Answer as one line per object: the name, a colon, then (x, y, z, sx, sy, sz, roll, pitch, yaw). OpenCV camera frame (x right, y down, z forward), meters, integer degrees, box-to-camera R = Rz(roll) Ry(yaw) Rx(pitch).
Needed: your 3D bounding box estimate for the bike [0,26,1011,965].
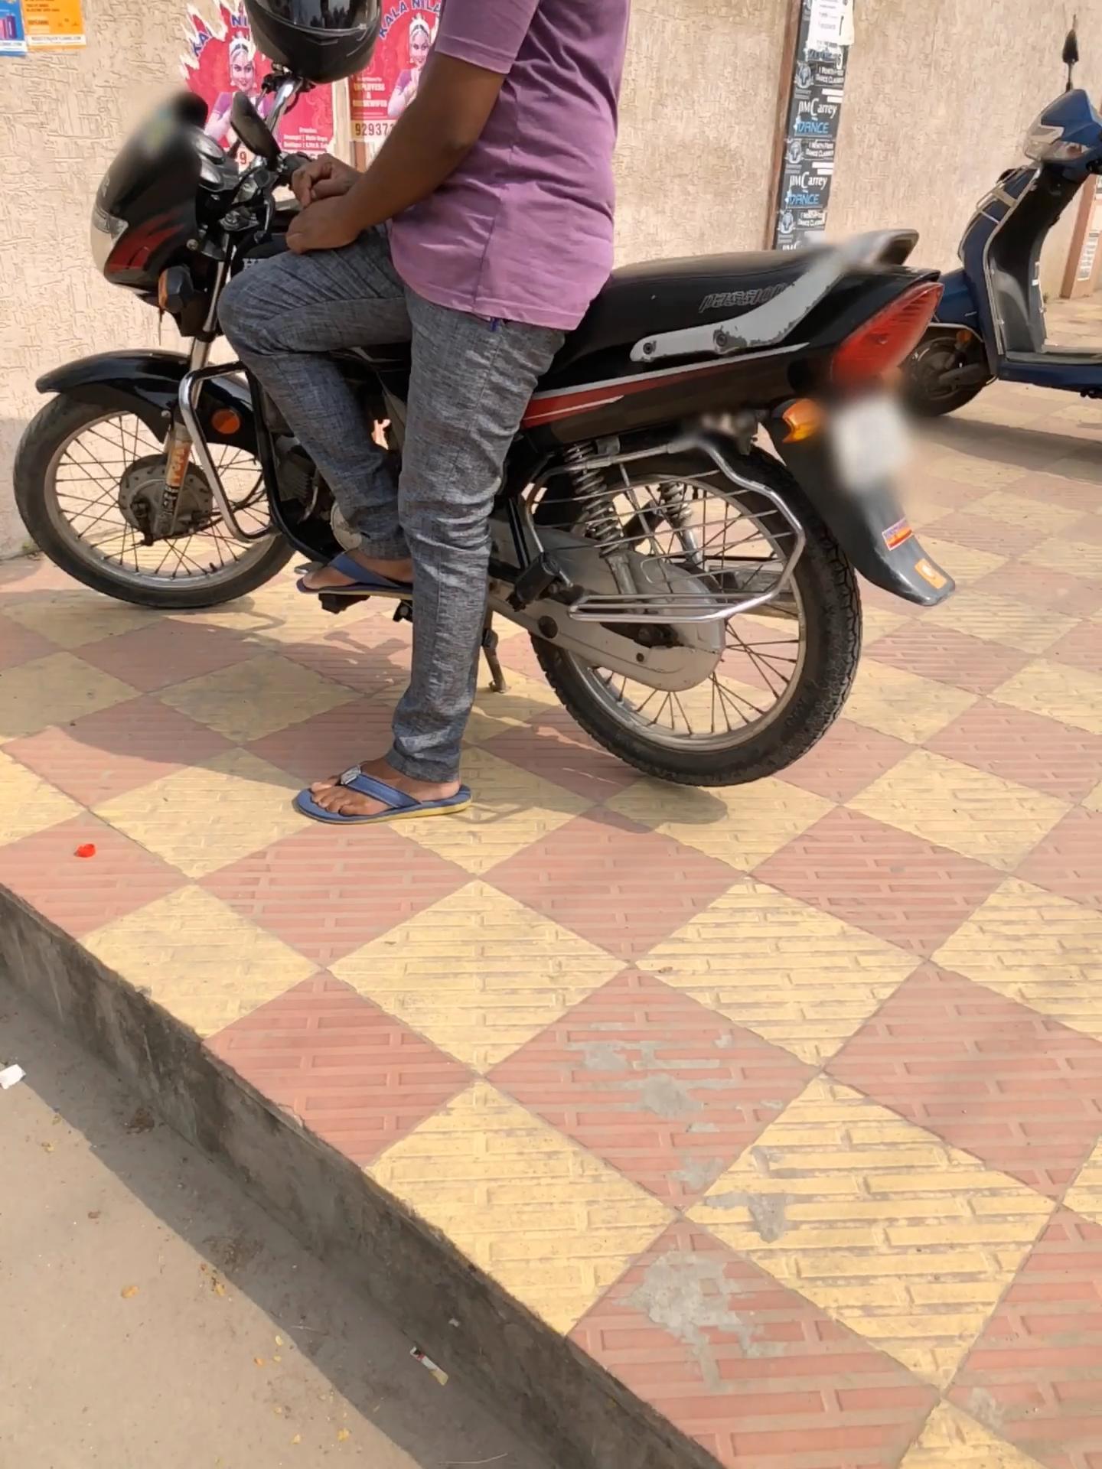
bike: (-0.337, -0.527, 2.030, 1.720, 1.067, 0.897, 14, 30, 22)
